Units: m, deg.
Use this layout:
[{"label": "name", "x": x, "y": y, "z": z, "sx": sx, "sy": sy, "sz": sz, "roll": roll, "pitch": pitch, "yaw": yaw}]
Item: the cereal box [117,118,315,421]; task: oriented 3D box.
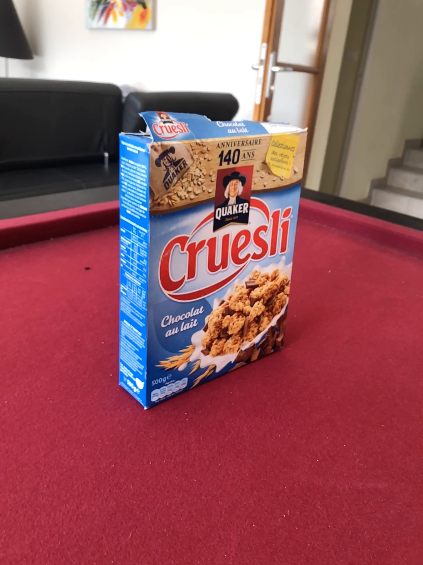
[{"label": "cereal box", "x": 0.003, "y": -0.021, "z": 0.458, "sx": 0.191, "sy": 0.259, "sz": 0.050, "roll": -18, "pitch": 33, "yaw": -41}]
